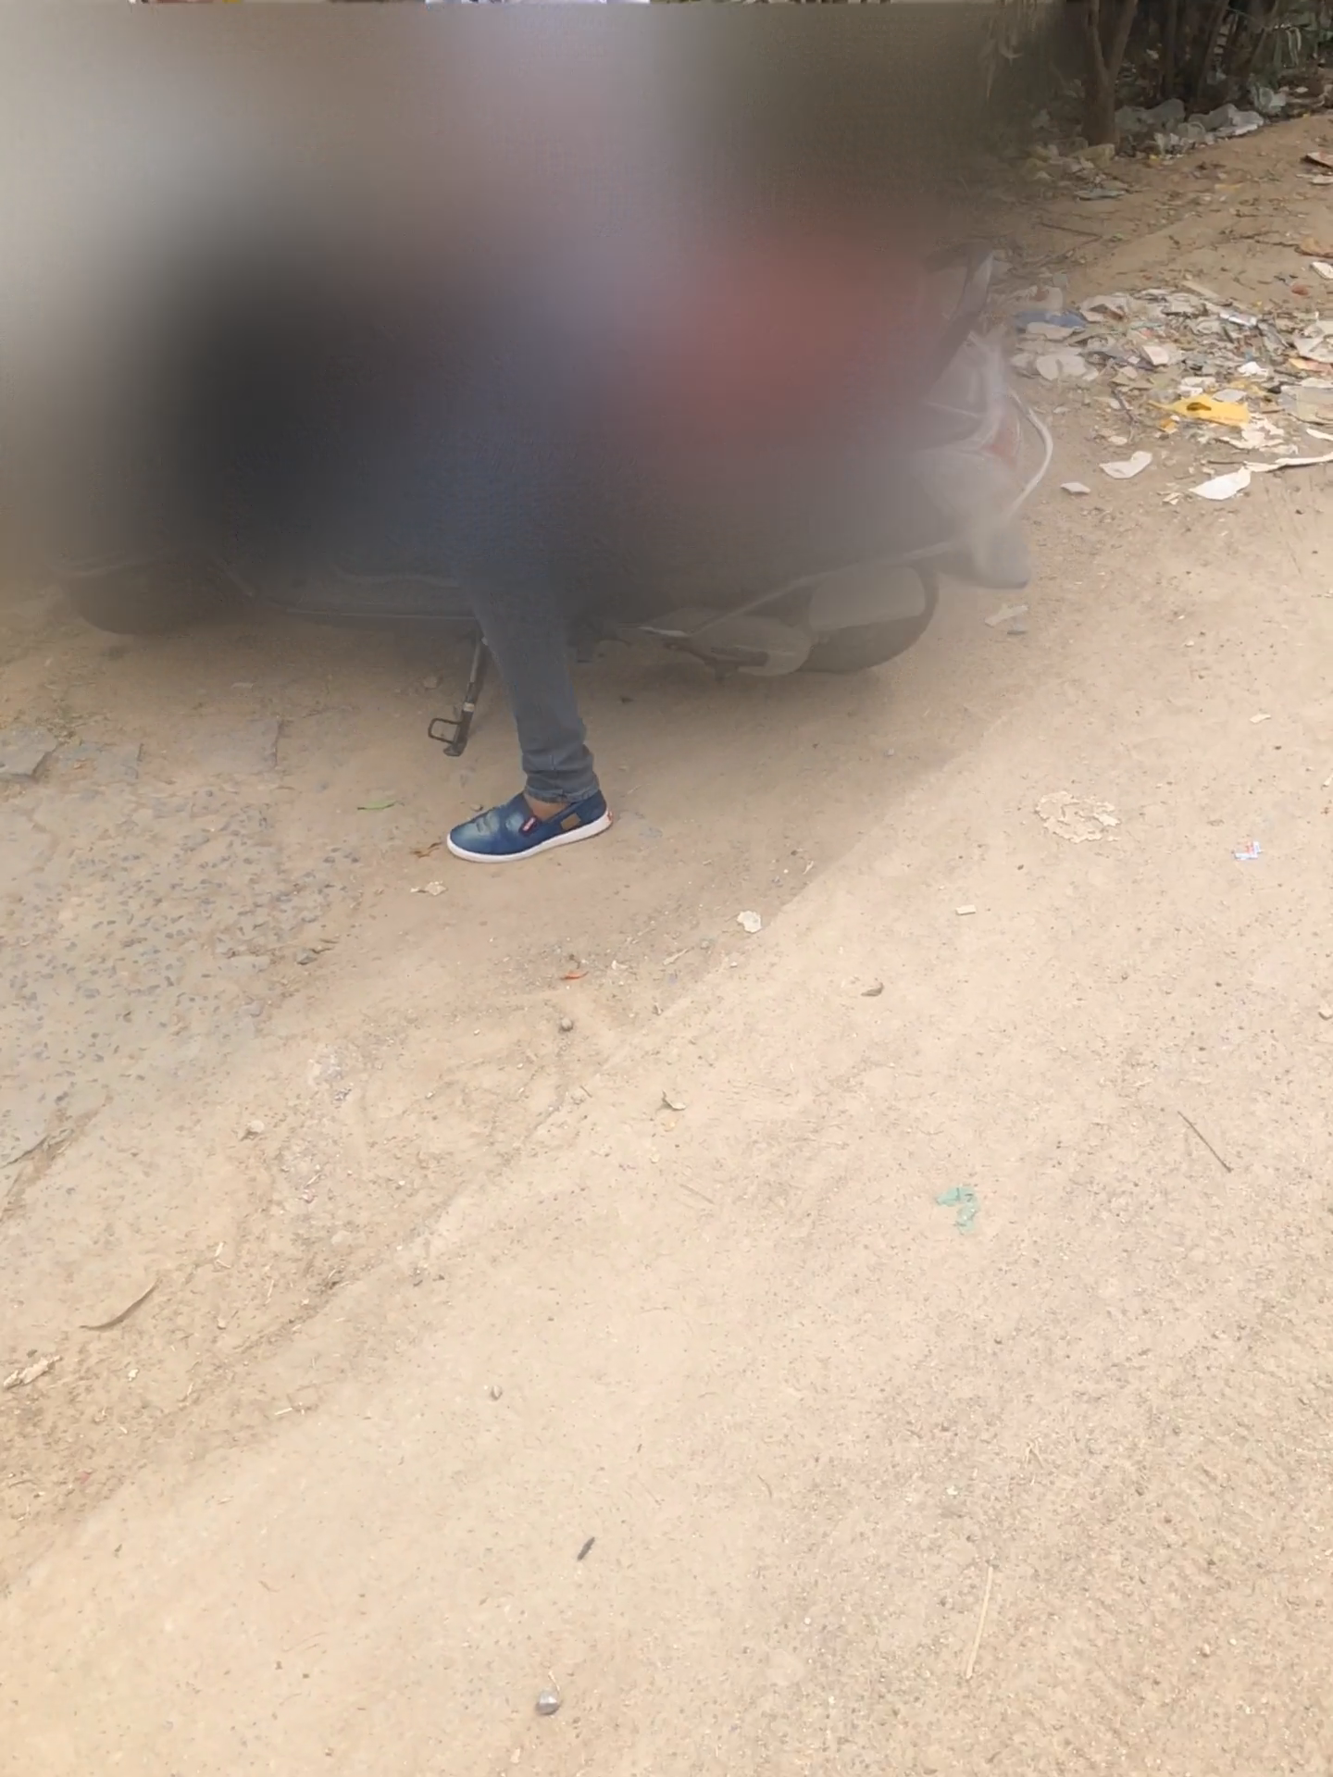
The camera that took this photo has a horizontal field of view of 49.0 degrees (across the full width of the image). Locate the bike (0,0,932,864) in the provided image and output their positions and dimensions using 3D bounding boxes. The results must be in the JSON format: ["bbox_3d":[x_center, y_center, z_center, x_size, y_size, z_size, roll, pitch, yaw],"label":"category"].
[{"bbox_3d":[-0.376,-0.721,2.171,1.496,1.196,0.614,0,37,4],"label":"bike"}]
